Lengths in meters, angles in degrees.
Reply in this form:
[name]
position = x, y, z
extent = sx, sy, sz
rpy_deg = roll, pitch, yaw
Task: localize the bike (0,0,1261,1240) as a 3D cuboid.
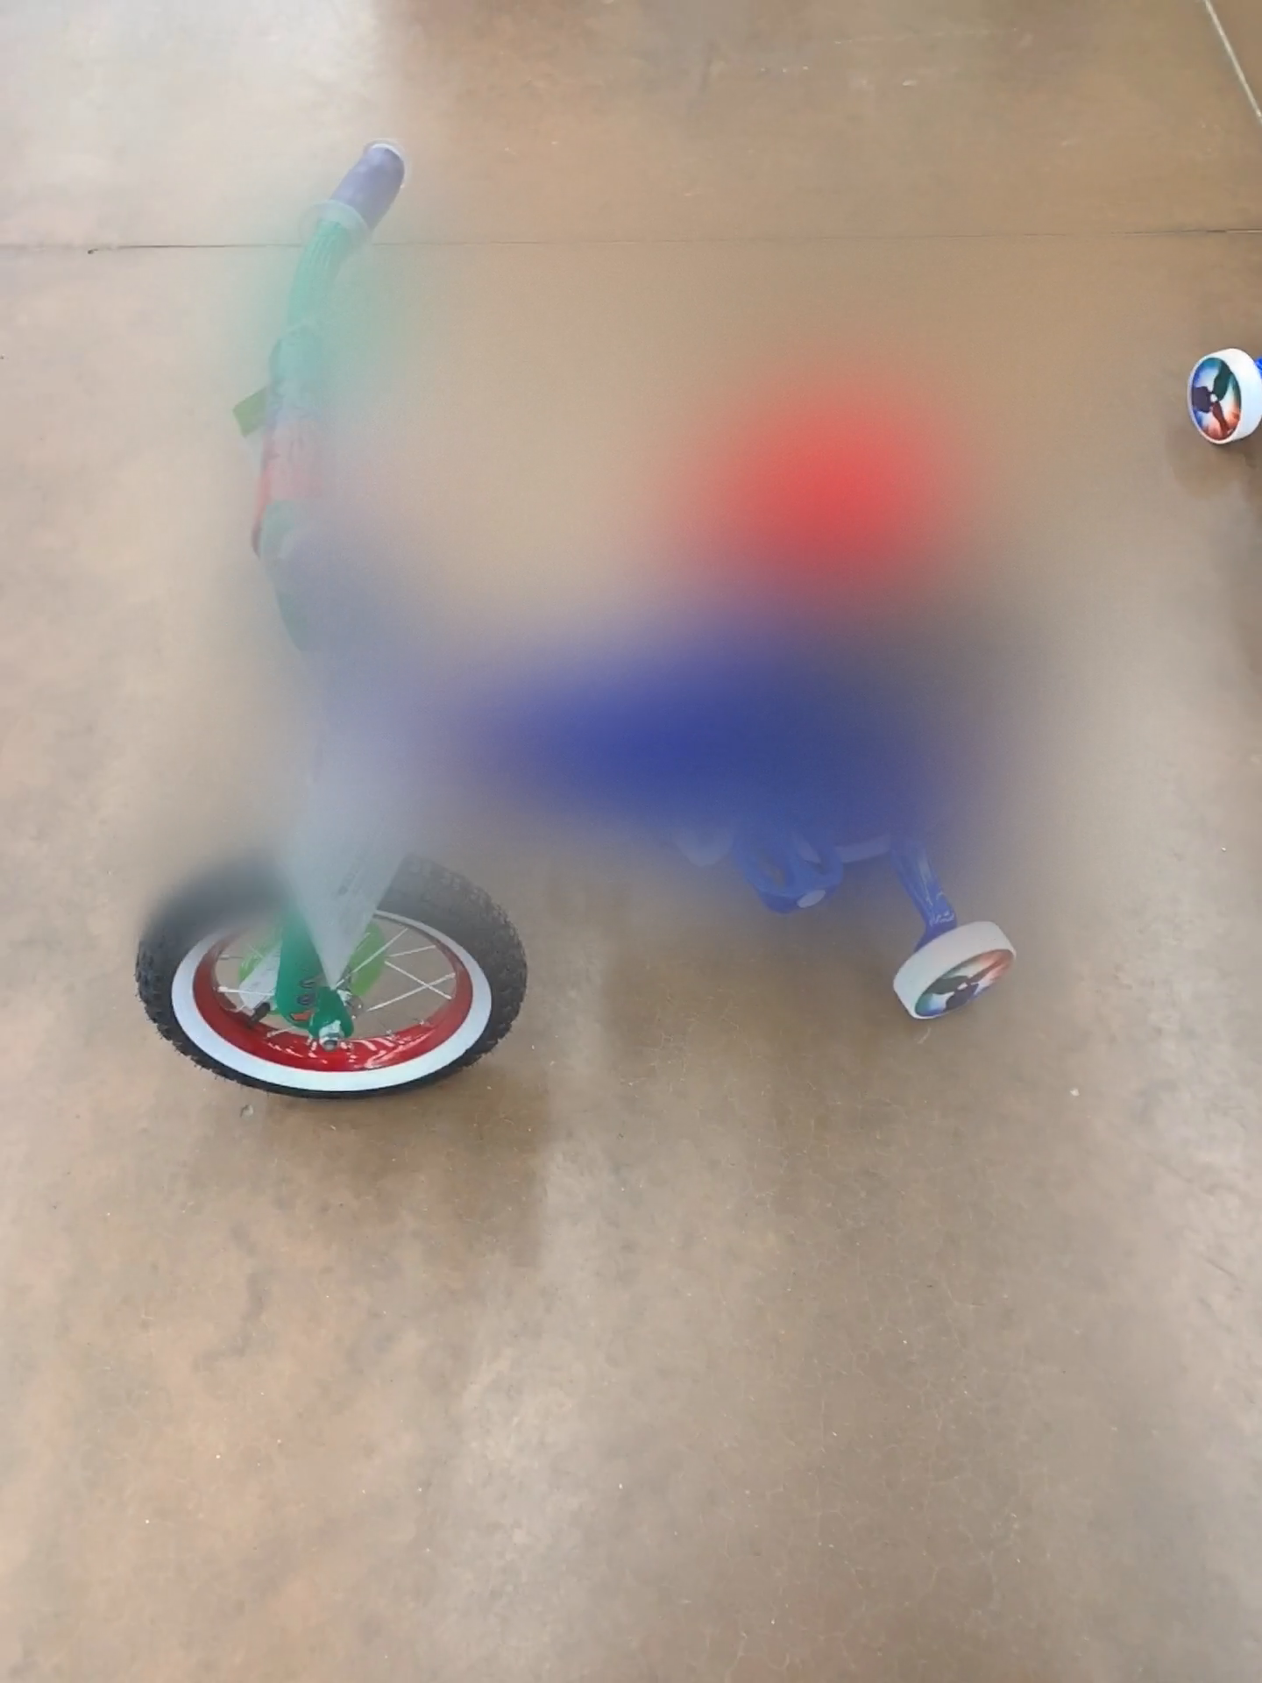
[bike]
position = -0.018, -0.150, 0.970
extent = 0.794, 0.695, 0.466
rpy_deg = -18, 57, -10
